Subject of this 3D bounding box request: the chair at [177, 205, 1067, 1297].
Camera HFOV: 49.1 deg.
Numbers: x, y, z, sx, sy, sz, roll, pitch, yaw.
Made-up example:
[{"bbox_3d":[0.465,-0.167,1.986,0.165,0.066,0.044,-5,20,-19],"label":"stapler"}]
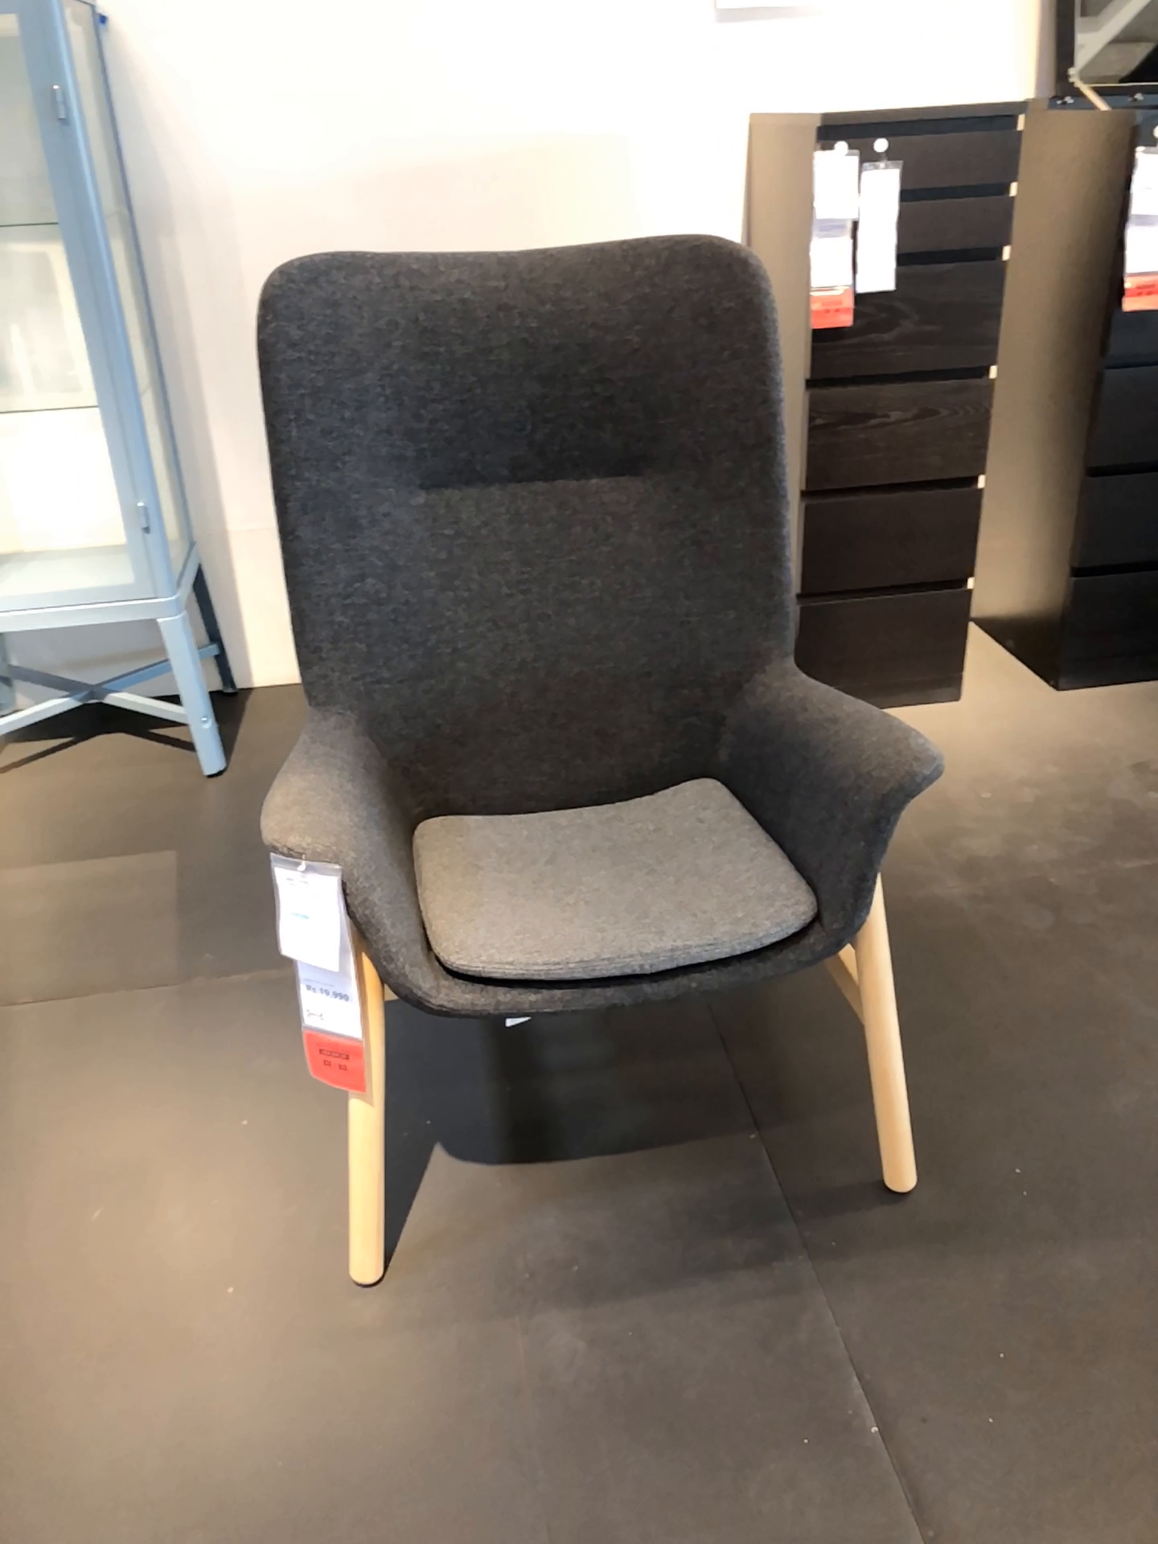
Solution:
[{"bbox_3d":[0.014,-0.077,1.562,0.720,1.063,0.714,-6,27,-7],"label":"chair"}]
